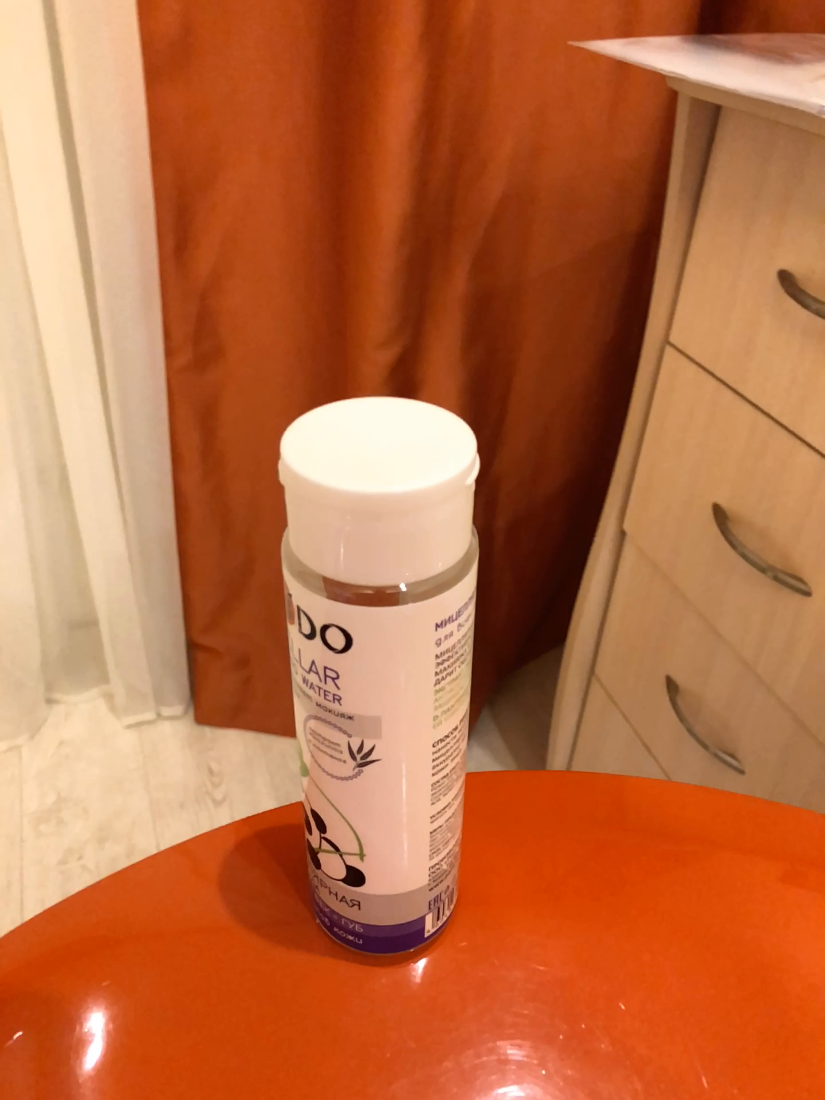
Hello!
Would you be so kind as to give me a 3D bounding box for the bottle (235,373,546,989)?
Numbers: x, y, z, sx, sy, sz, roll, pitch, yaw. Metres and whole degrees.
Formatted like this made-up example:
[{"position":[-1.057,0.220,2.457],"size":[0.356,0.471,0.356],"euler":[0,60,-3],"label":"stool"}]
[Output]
[{"position":[-0.008,0.043,0.253],"size":[0.052,0.166,0.054],"euler":[1,36,0],"label":"bottle"}]
